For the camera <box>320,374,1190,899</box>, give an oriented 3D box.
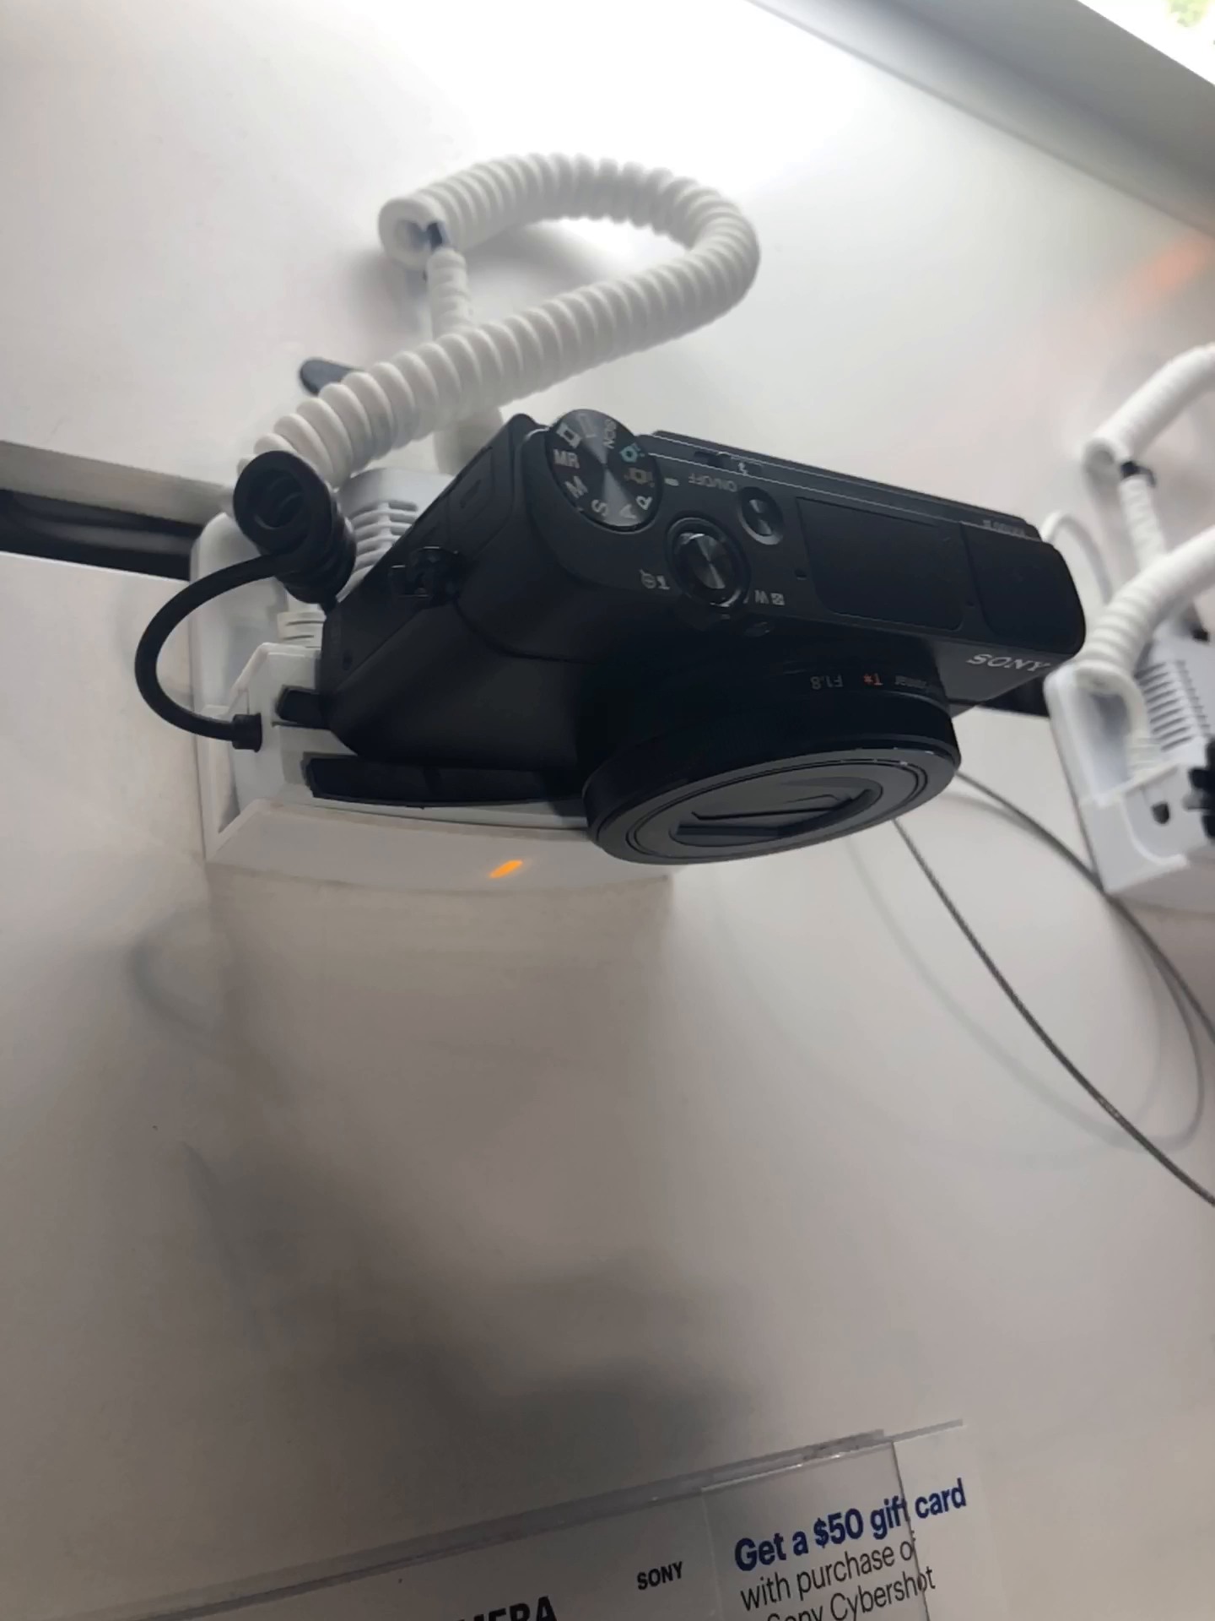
[{"bbox_3d":[0.021,-0.017,0.185,0.102,0.051,0.041,1,67,-34],"label":"camera"}]
